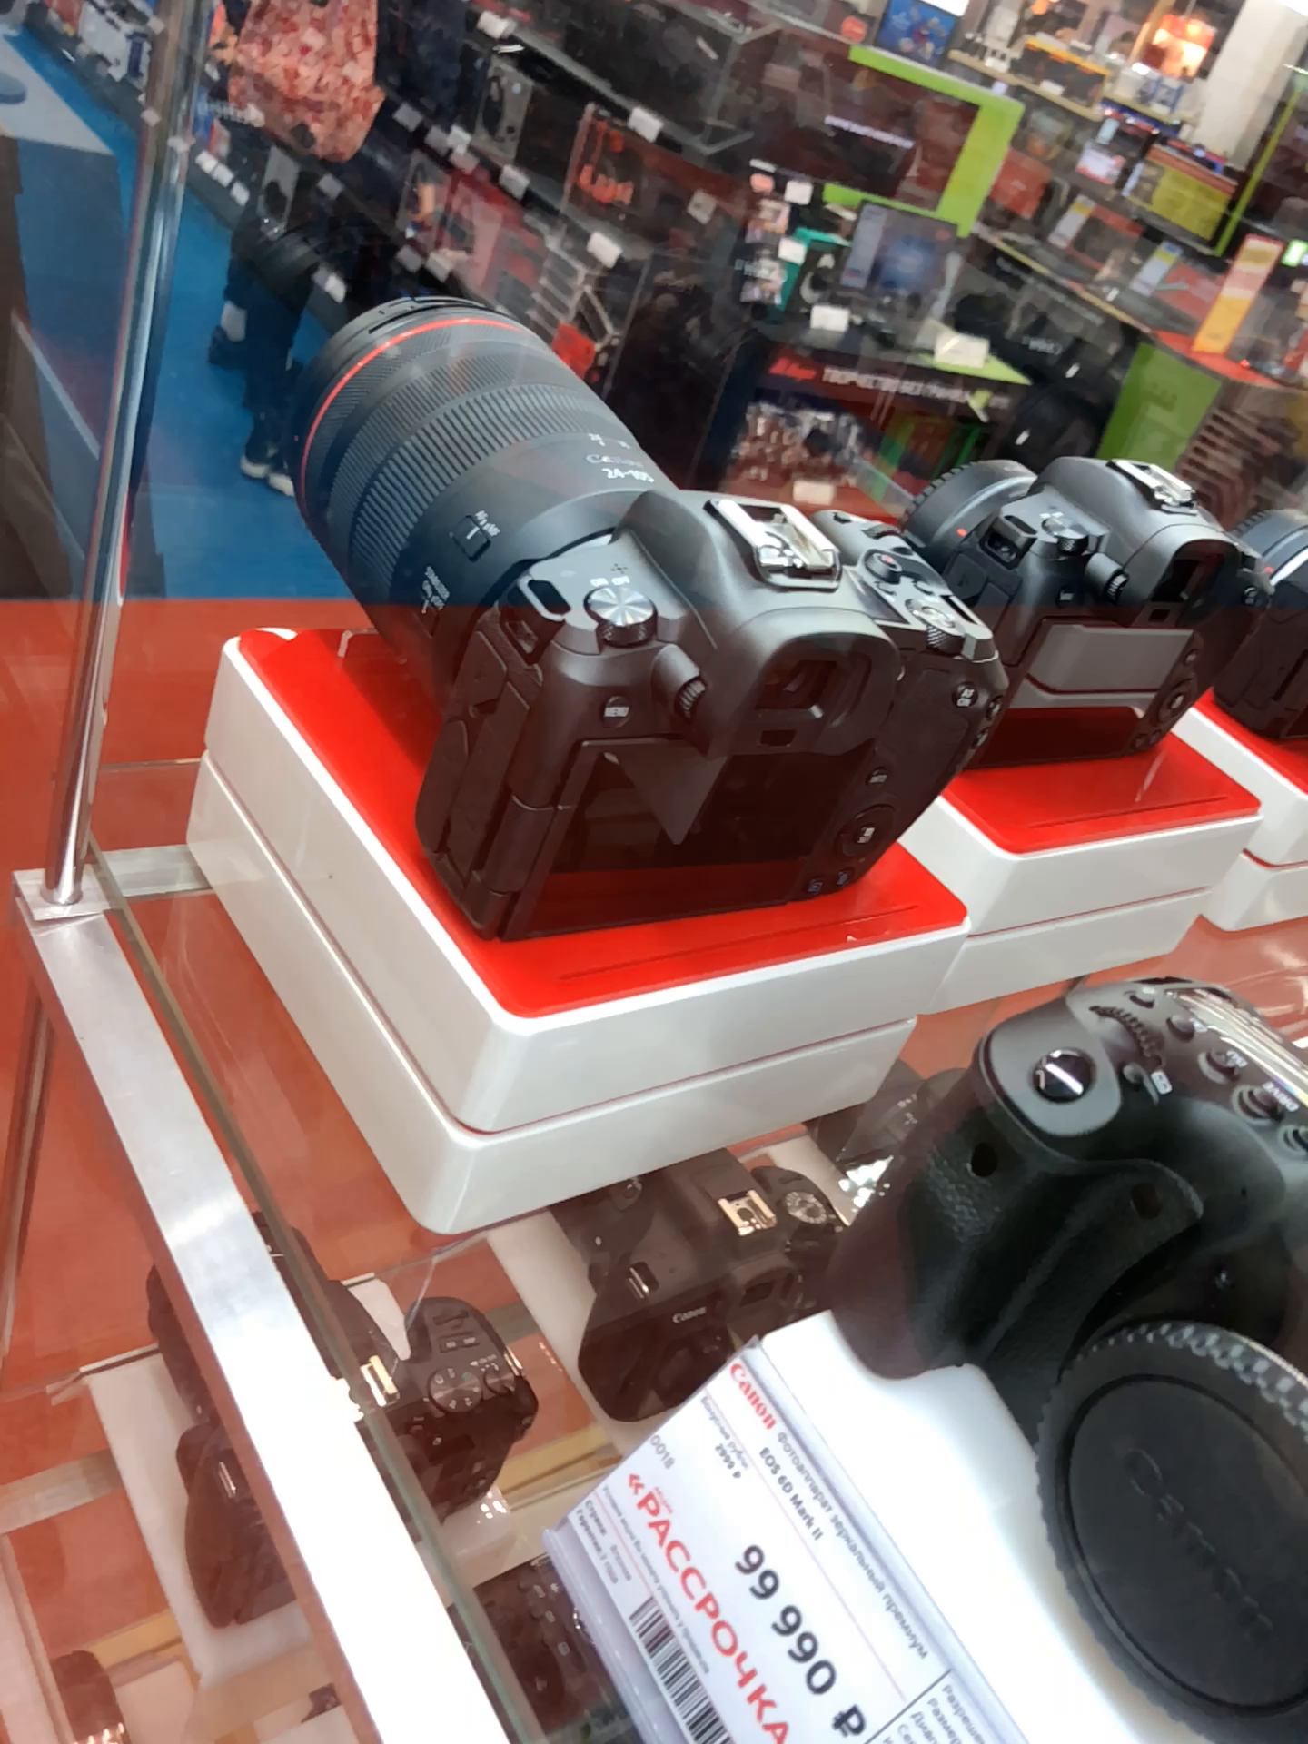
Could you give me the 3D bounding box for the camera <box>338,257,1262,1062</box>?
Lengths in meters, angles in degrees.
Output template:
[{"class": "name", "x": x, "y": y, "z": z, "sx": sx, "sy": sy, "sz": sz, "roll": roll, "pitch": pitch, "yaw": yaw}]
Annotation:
[{"class": "camera", "x": 0.027, "y": -0.064, "z": 0.390, "sx": 0.140, "sy": 0.110, "sz": 0.184, "roll": -7, "pitch": 43, "yaw": -37}]
